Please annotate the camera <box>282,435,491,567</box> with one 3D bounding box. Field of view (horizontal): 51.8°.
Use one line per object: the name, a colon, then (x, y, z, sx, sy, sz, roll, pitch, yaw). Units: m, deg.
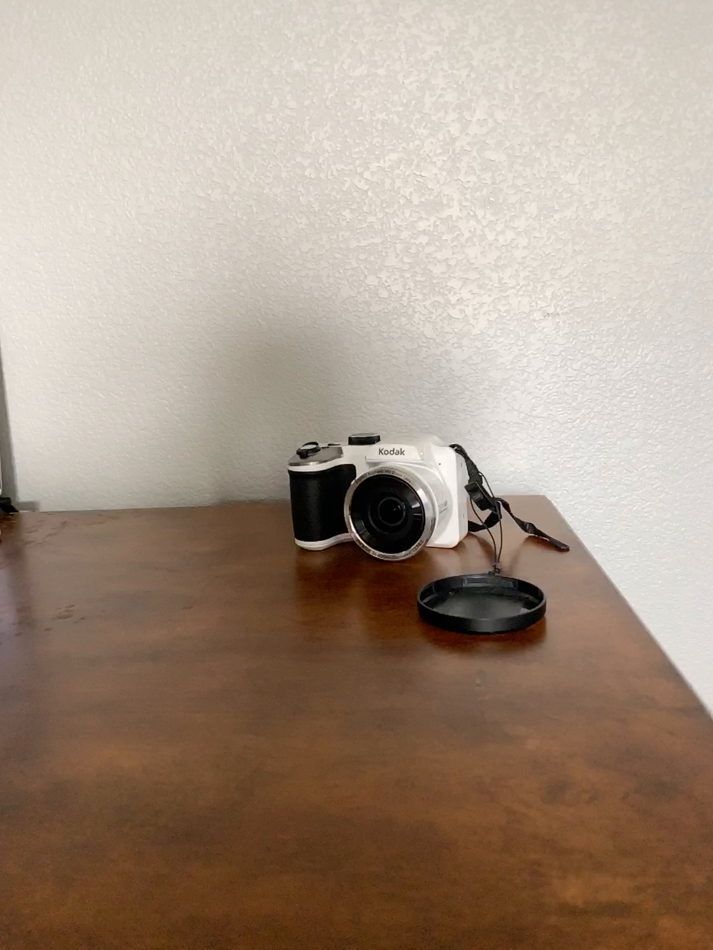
camera: (0.021, 0.013, 0.498, 0.119, 0.071, 0.070, 2, 10, 32)
